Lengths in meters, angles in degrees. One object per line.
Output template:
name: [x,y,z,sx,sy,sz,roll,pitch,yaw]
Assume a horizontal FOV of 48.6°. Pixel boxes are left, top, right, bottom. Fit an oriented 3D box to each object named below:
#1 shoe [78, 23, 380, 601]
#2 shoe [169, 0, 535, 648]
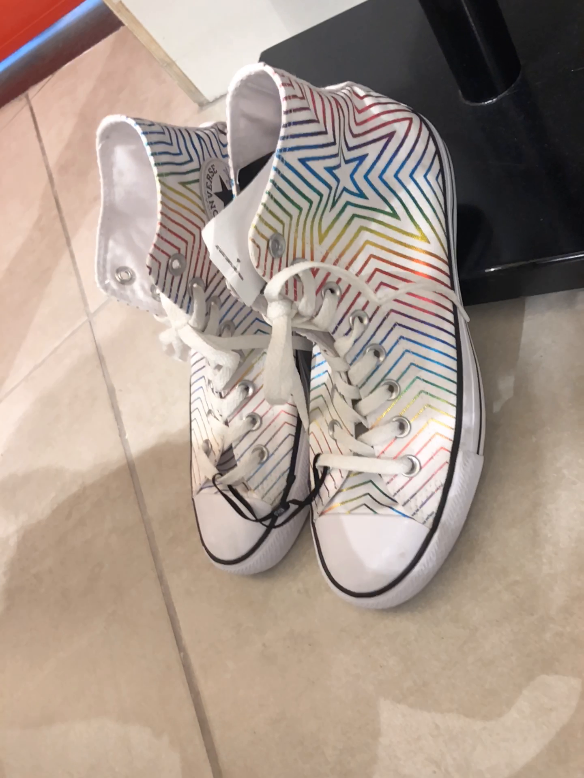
shoe: [-0.032,-0.037,0.421,0.120,0.139,0.300,-3,82,36]
shoe: [0.047,-0.036,0.352,0.120,0.139,0.300,-3,76,36]
